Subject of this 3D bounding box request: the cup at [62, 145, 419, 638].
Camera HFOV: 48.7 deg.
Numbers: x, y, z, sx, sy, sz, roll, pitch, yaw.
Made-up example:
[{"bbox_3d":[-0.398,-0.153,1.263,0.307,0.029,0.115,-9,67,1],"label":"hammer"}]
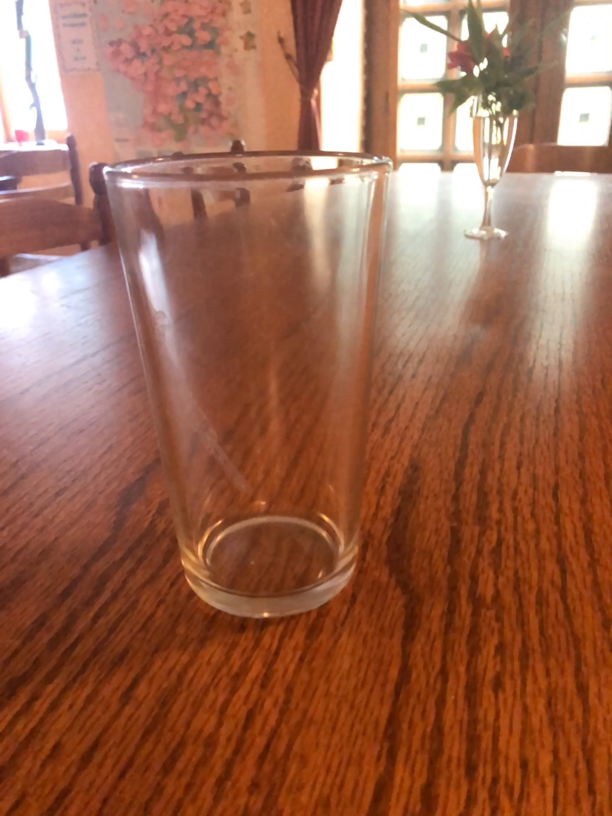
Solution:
[{"bbox_3d":[-0.010,-0.013,0.239,0.089,0.144,0.092,-1,23,1],"label":"cup"}]
